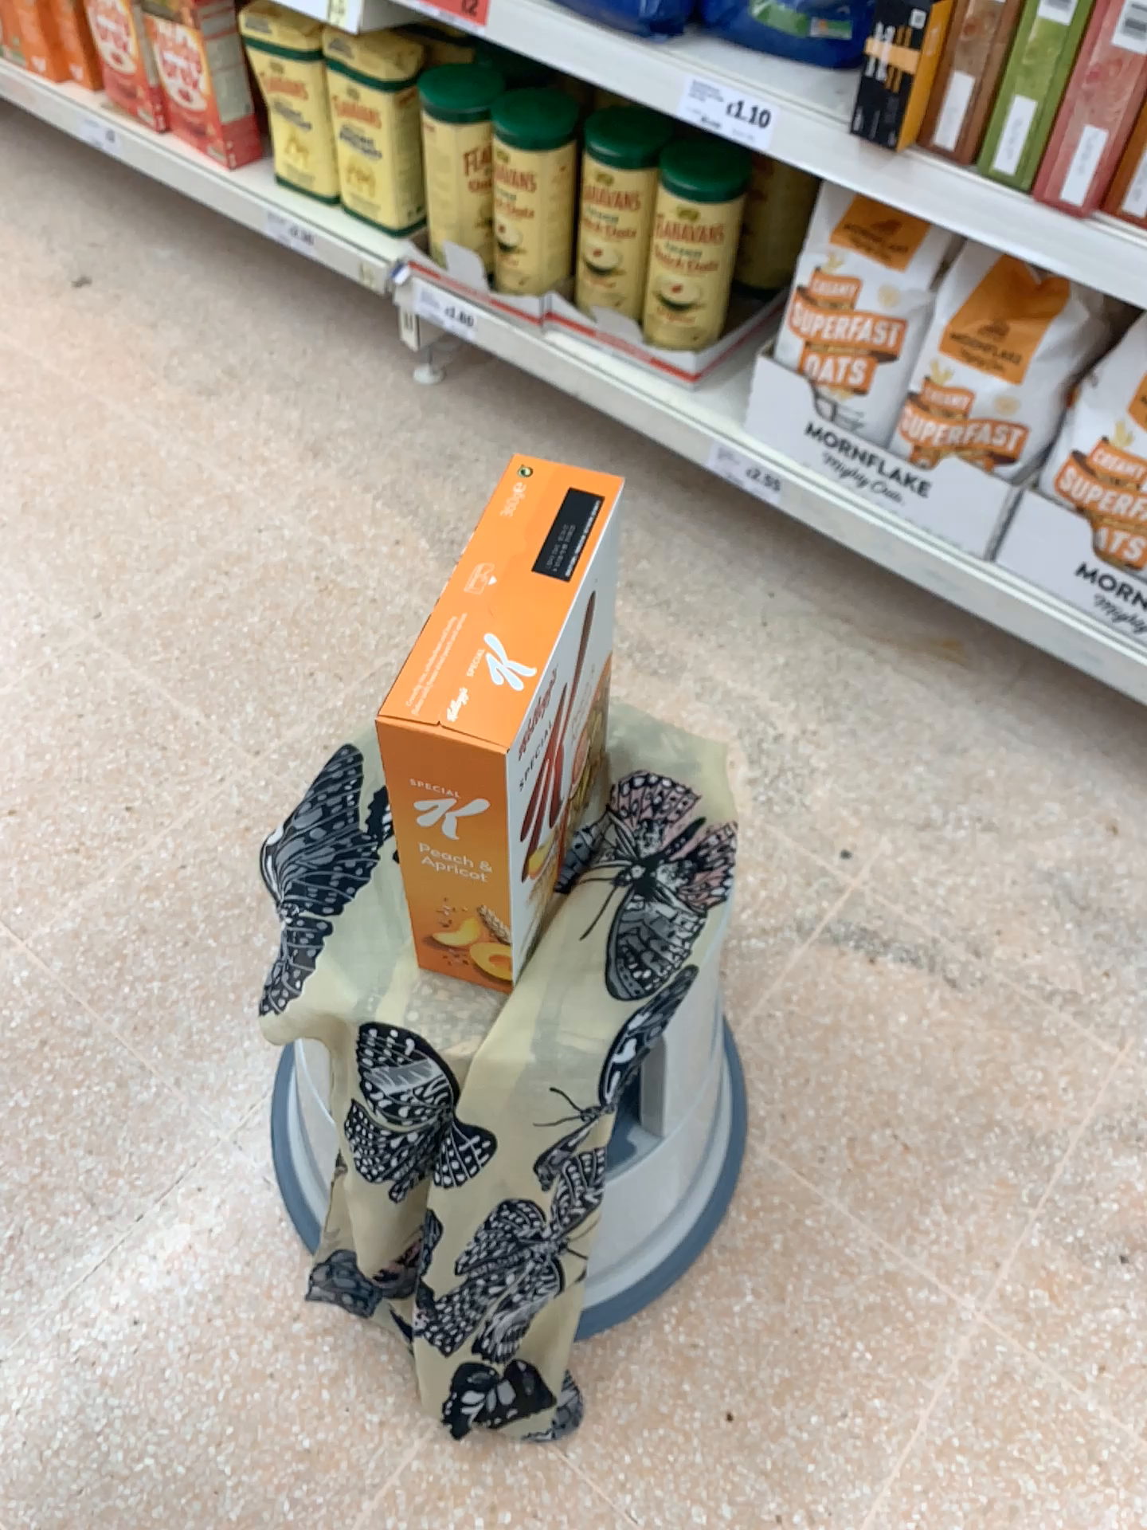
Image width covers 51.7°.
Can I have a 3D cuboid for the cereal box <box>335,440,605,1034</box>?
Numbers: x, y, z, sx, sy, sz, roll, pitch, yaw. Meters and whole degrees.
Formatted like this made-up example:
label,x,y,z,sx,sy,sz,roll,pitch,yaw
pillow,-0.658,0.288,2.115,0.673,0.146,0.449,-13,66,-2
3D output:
label,x,y,z,sx,sy,sz,roll,pitch,yaw
cereal box,-0.050,-0.006,0.674,0.060,0.268,0.212,16,53,8
